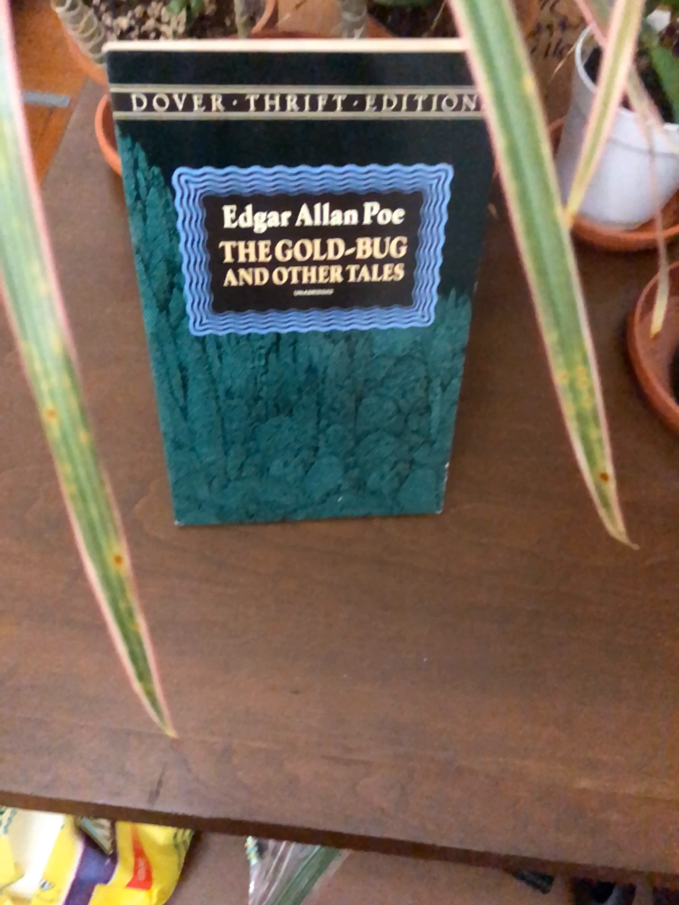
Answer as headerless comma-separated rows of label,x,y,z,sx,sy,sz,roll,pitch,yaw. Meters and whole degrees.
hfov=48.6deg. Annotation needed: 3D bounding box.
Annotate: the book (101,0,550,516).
book,-0.006,-0.061,0.307,0.140,0.209,0.020,-3,39,-6
